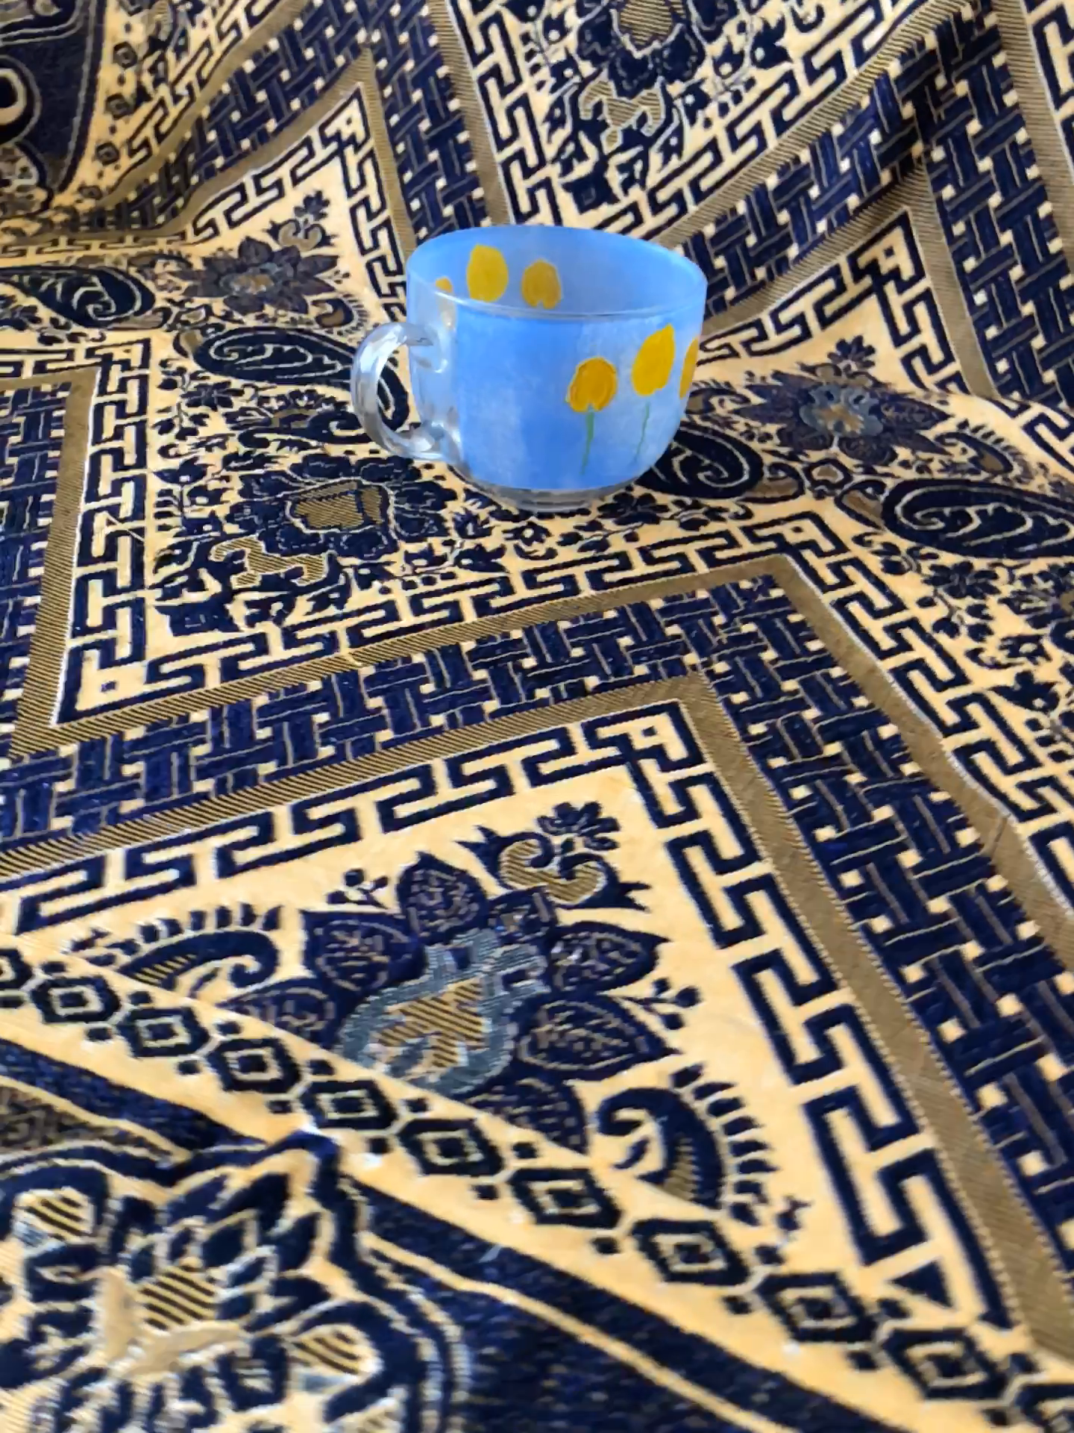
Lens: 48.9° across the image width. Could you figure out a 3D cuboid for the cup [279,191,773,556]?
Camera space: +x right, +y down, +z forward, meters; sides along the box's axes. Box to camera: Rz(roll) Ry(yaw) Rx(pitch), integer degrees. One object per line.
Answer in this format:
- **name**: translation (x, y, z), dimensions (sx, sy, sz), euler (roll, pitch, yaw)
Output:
- **cup**: translation (-0.006, -0.135, 0.441), dimensions (0.139, 0.072, 0.109), euler (-22, 47, -29)
